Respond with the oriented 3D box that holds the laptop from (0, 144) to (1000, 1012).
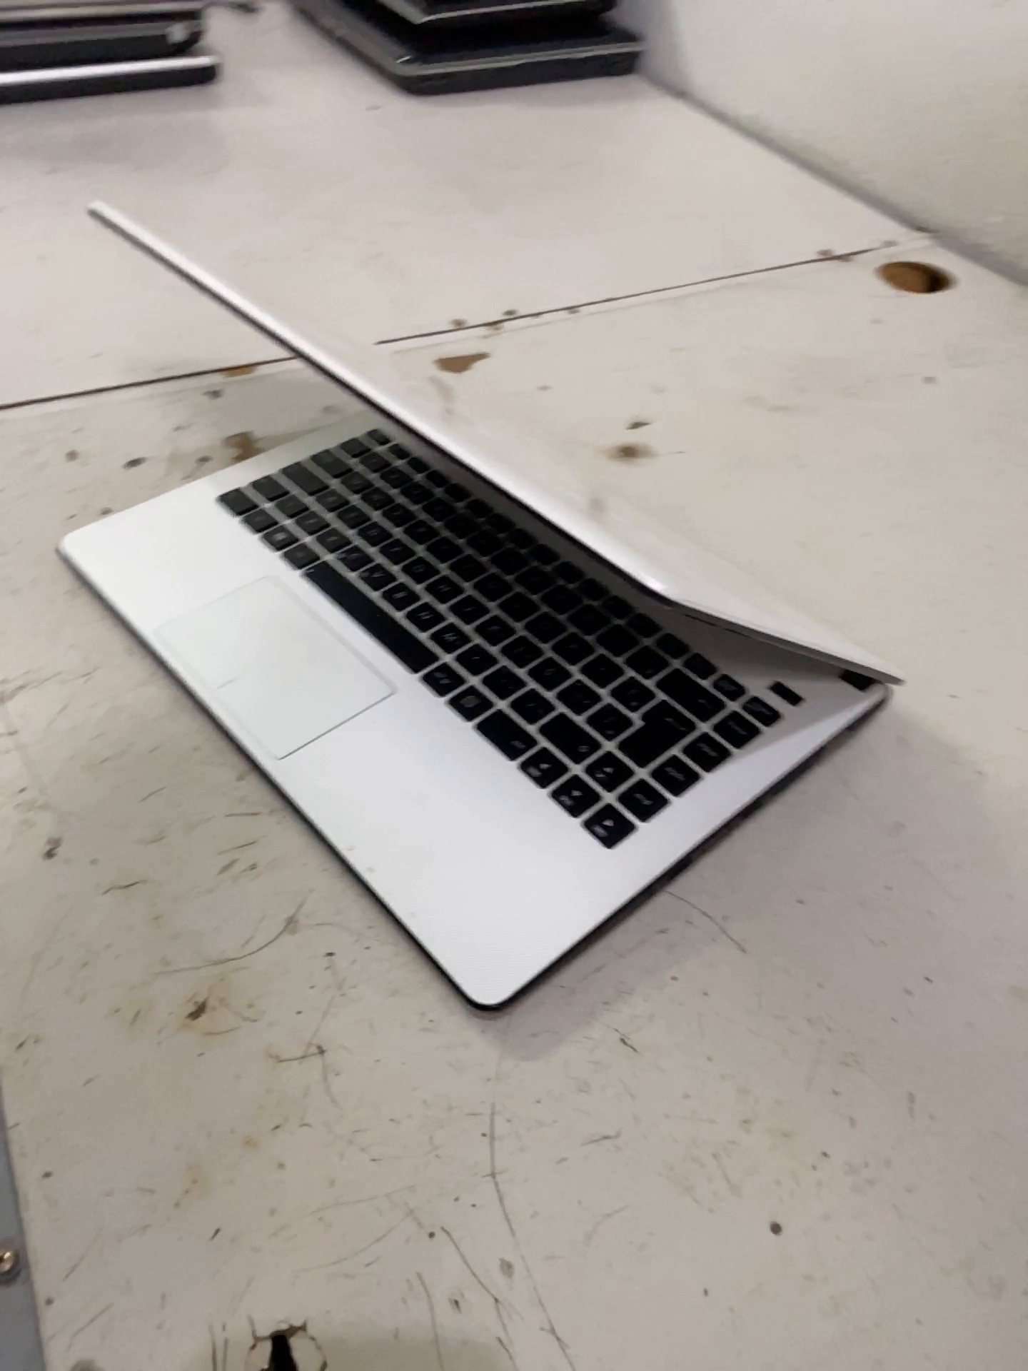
[{"bbox_3d":[-0.033,-0.086,0.459,0.237,0.141,0.343,-32,53,-28],"label":"laptop"}]
